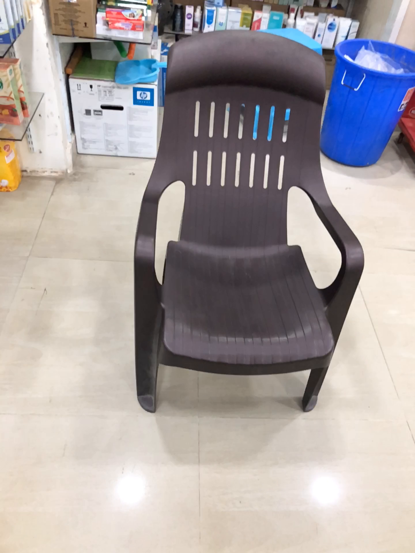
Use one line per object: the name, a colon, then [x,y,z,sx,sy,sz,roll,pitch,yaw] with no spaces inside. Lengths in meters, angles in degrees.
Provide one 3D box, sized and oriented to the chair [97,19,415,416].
chair: [0.082,-0.130,1.287,0.630,0.844,0.685,2,44,-6]
